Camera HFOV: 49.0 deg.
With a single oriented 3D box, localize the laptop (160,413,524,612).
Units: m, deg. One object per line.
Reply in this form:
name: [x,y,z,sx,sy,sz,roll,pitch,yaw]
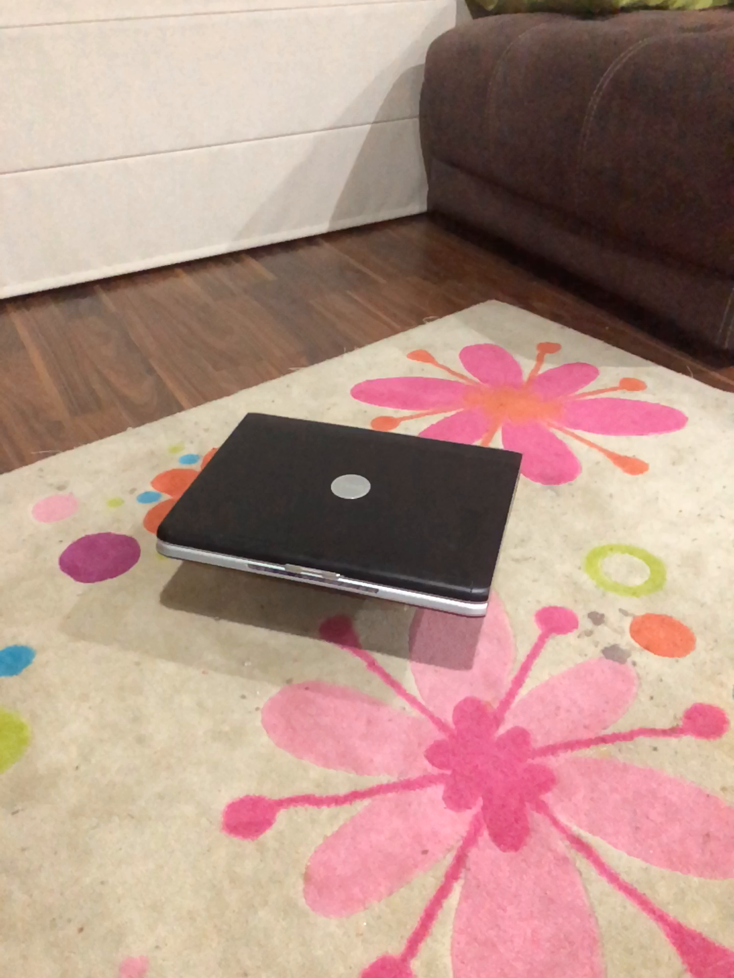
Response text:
laptop: [-0.021,0.010,0.897,0.353,0.015,0.233,9,42,17]
